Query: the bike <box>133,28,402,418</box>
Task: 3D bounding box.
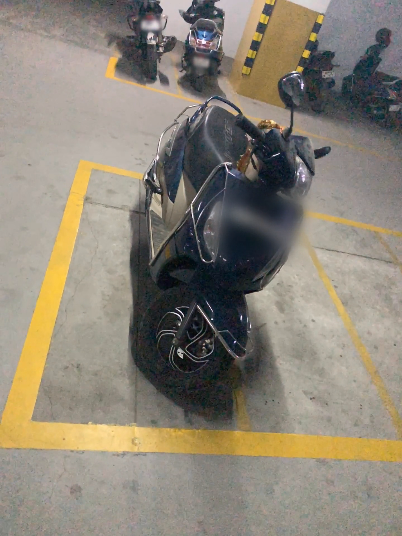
[{"bbox_3d":[0.115,-0.320,2.132,0.665,1.028,1.700,7,42,-20],"label":"bike"}]
